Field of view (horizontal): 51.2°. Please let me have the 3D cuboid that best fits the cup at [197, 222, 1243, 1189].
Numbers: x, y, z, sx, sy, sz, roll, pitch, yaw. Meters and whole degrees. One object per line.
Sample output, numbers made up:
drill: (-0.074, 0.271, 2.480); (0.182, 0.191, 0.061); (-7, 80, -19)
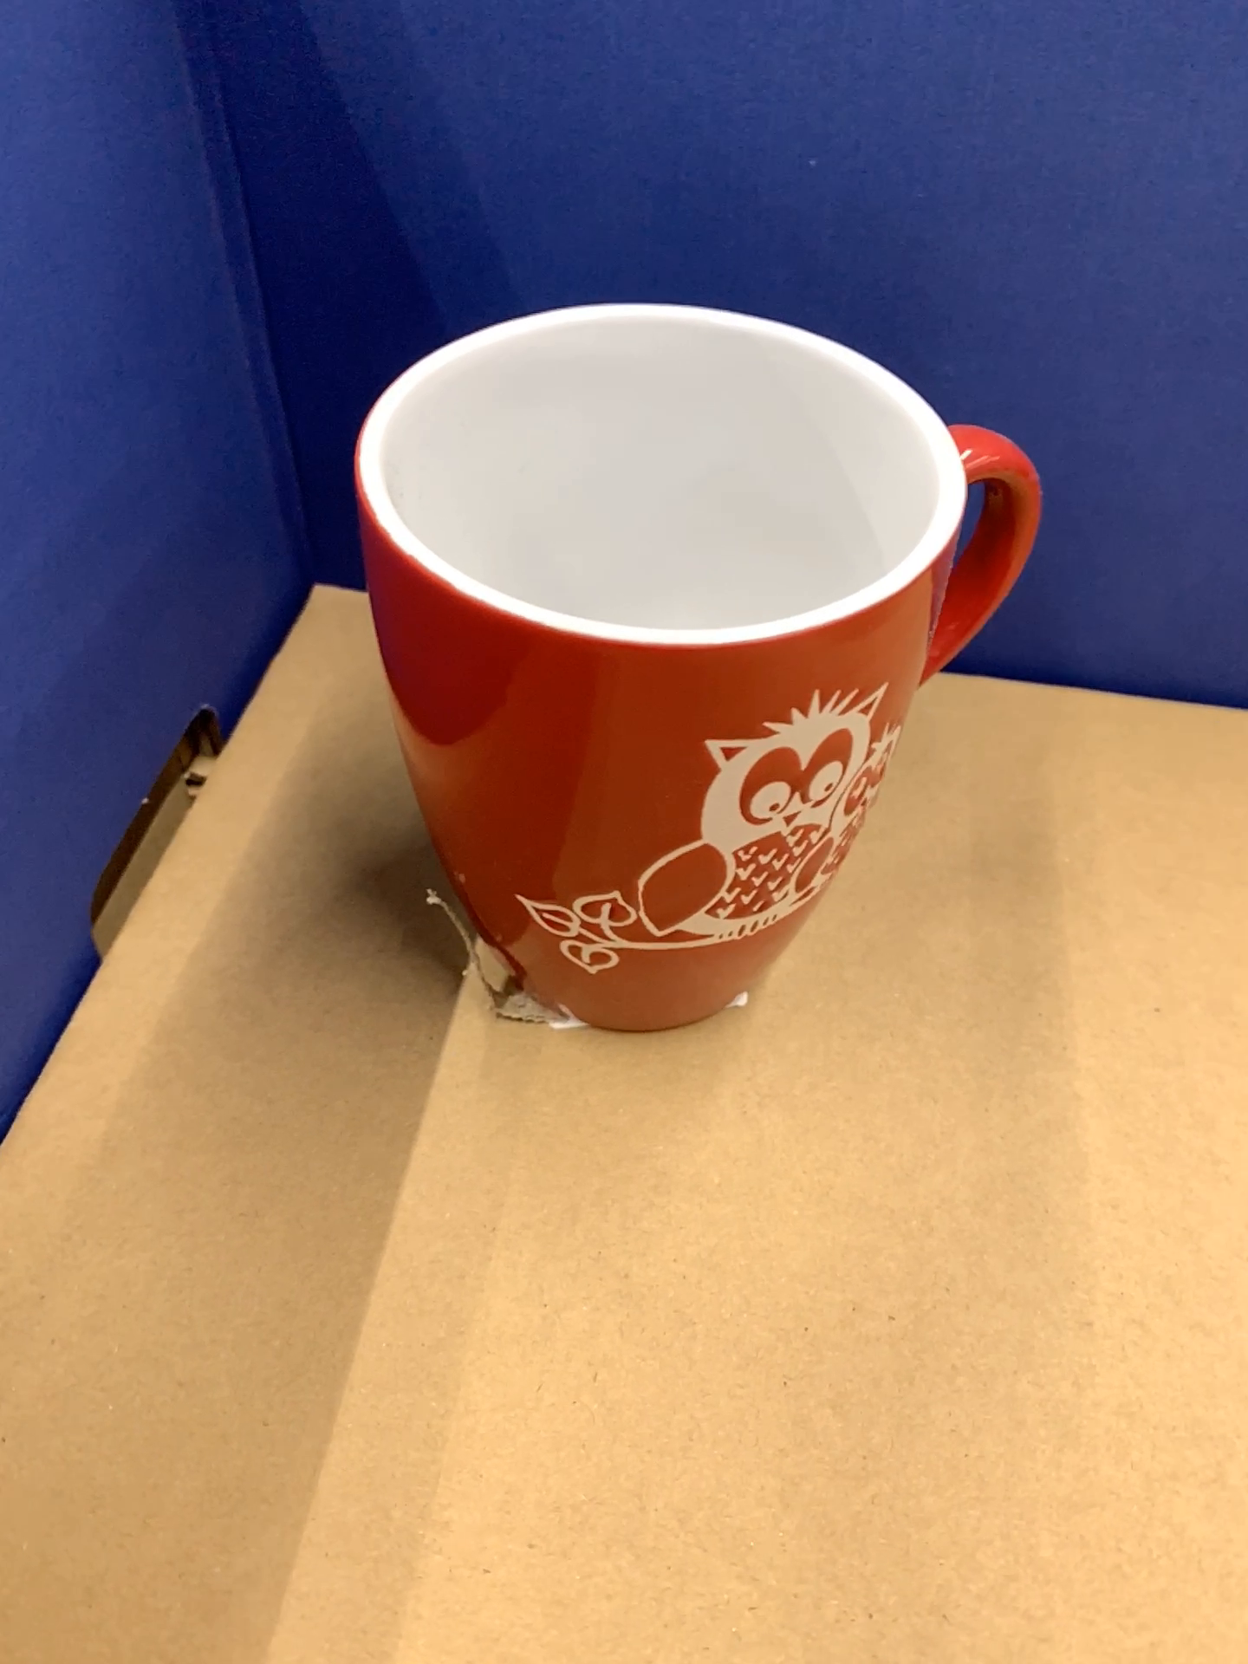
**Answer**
cup: (0.013, -0.030, 0.226); (0.120, 0.091, 0.100); (-29, 52, -26)
